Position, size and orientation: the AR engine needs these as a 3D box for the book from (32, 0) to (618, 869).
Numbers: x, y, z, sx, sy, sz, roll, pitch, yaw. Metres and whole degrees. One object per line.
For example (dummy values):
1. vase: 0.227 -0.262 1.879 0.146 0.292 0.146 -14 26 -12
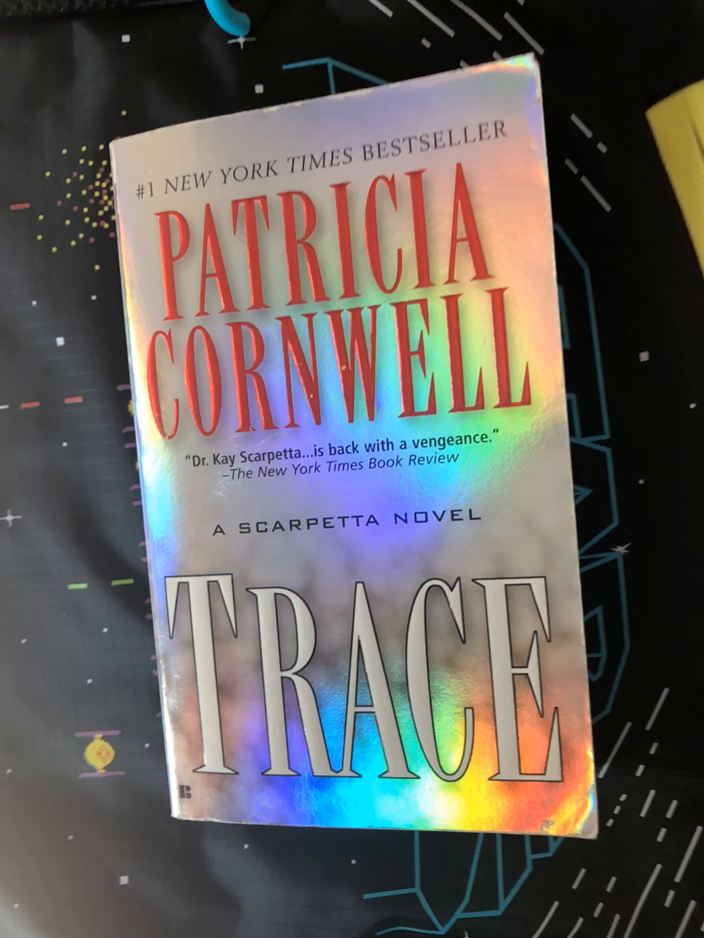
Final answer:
1. book: -0.006 -0.003 0.190 0.120 0.040 0.170 -5 91 18
